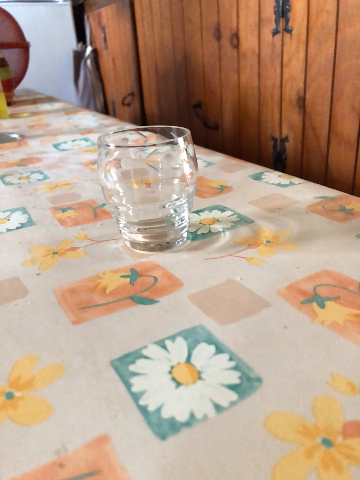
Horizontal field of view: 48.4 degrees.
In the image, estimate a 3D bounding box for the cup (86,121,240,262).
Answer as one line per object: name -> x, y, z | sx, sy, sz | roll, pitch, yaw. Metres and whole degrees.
cup -> -0.010, -0.030, 0.210 | 0.060, 0.050, 0.060 | -3, 25, 1
